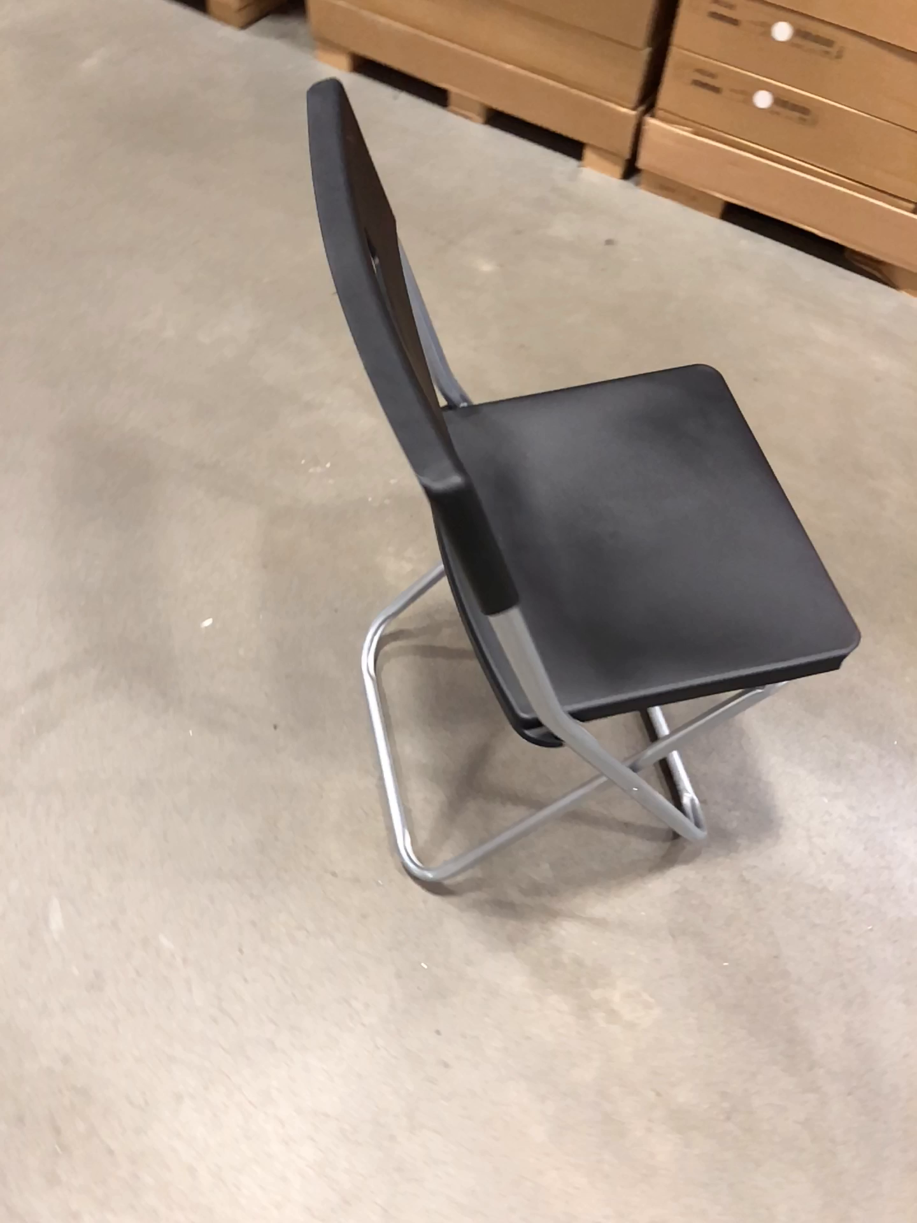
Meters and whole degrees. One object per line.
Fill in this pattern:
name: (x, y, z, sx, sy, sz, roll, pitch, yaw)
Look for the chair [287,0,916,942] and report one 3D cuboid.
chair: (0.129, -0.075, 0.958, 0.460, 0.758, 0.461, -9, 57, -10)
